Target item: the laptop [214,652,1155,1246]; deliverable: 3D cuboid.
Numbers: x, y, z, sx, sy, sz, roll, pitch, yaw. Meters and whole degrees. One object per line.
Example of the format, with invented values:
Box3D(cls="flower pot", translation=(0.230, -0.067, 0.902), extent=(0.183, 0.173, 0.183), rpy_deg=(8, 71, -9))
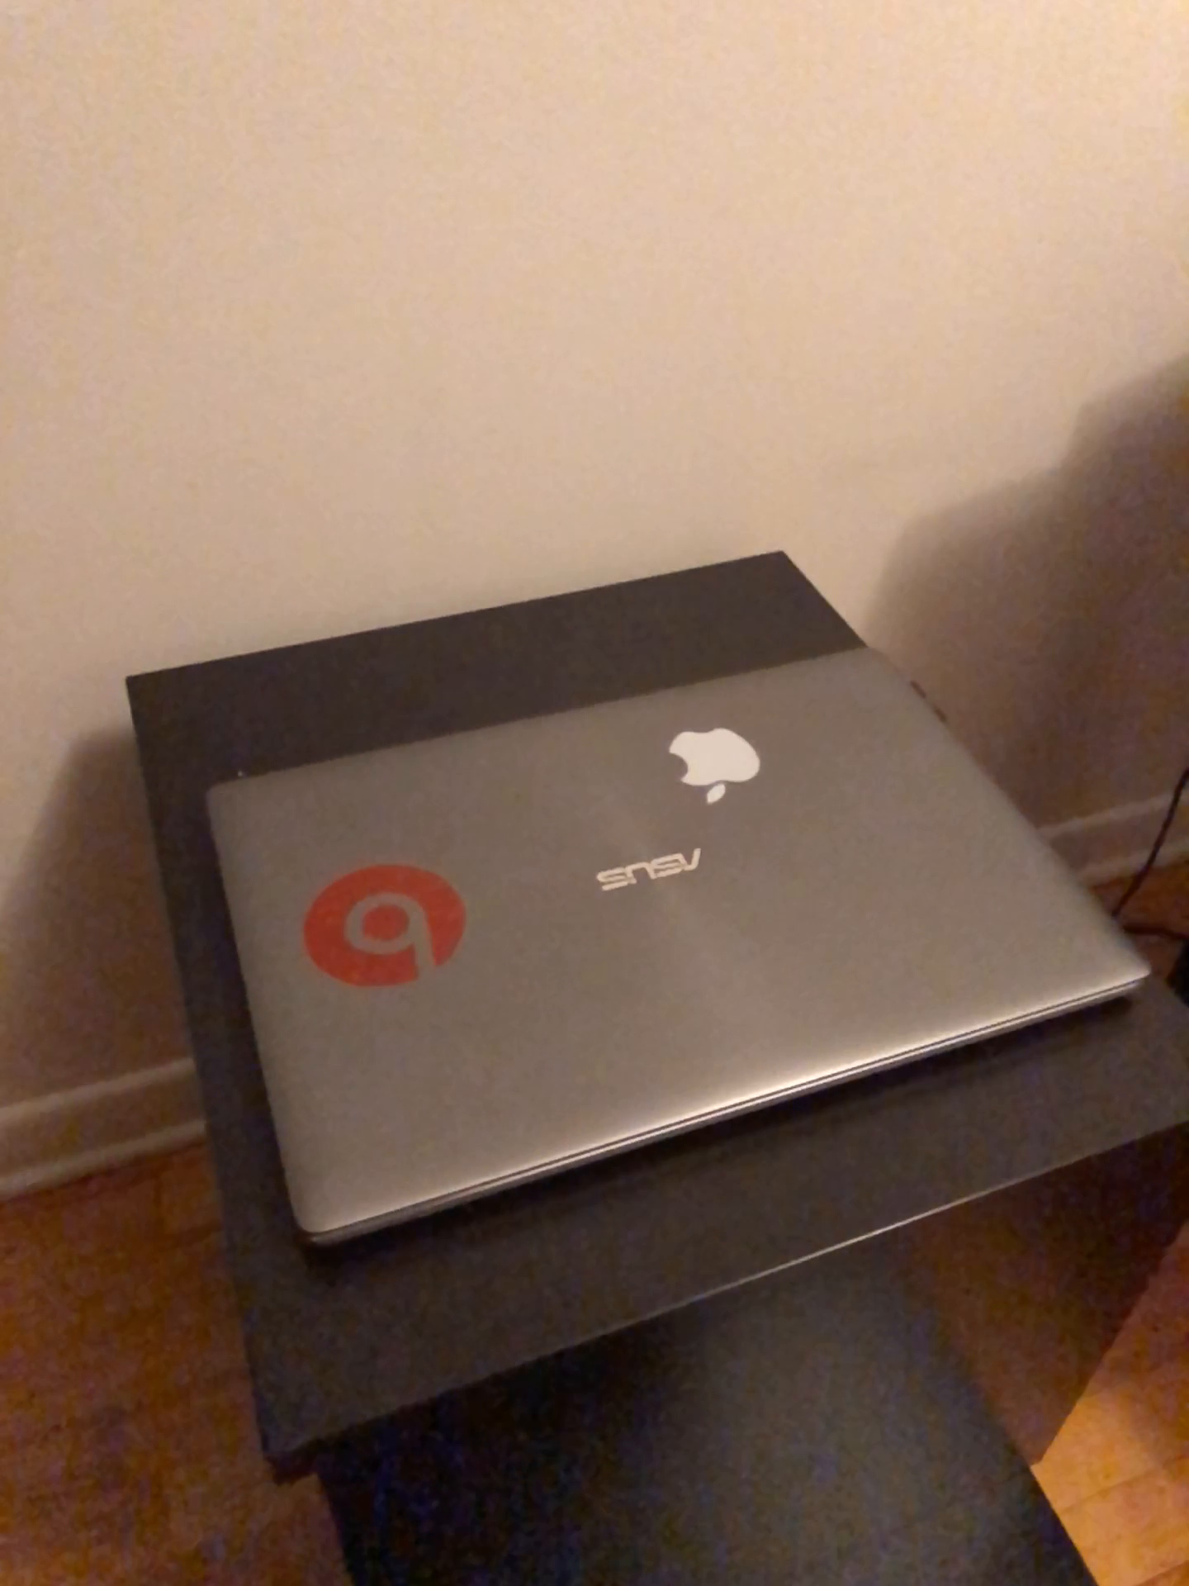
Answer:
Box3D(cls="laptop", translation=(0.029, 0.045, 0.619), extent=(0.373, 0.010, 0.250), rpy_deg=(-13, 45, -15))
